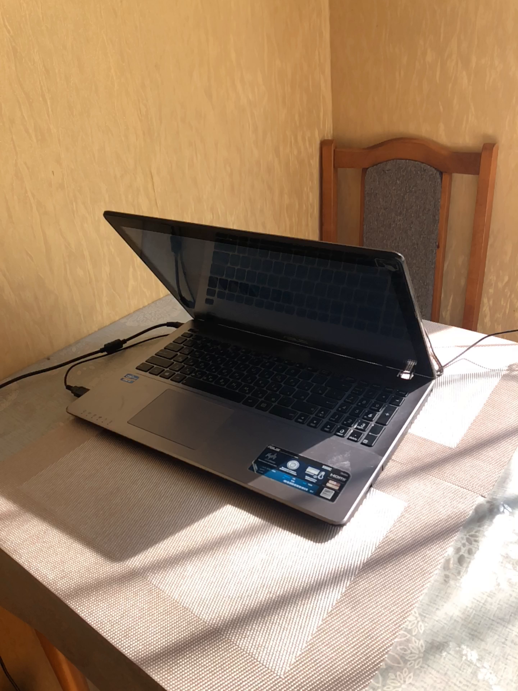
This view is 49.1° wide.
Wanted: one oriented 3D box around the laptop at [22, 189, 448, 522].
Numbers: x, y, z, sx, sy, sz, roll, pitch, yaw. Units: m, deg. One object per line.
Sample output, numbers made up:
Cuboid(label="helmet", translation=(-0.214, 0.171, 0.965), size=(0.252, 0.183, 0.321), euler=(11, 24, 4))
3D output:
Cuboid(label="laptop", translation=(-0.020, -0.026, 0.630), size=(0.364, 0.197, 0.241), euler=(14, 37, 31))
